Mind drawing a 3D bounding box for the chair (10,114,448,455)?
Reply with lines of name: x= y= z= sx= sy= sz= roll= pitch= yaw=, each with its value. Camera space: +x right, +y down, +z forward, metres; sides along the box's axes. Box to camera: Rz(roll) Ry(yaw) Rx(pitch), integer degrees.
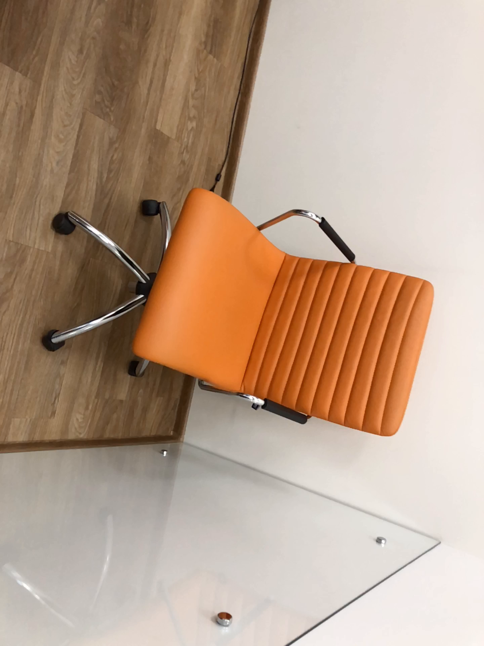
chair: x=-0.022 y=-0.079 z=1.492 sx=0.663 sy=0.895 sz=0.620 roll=24 pitch=79 yaw=-53
